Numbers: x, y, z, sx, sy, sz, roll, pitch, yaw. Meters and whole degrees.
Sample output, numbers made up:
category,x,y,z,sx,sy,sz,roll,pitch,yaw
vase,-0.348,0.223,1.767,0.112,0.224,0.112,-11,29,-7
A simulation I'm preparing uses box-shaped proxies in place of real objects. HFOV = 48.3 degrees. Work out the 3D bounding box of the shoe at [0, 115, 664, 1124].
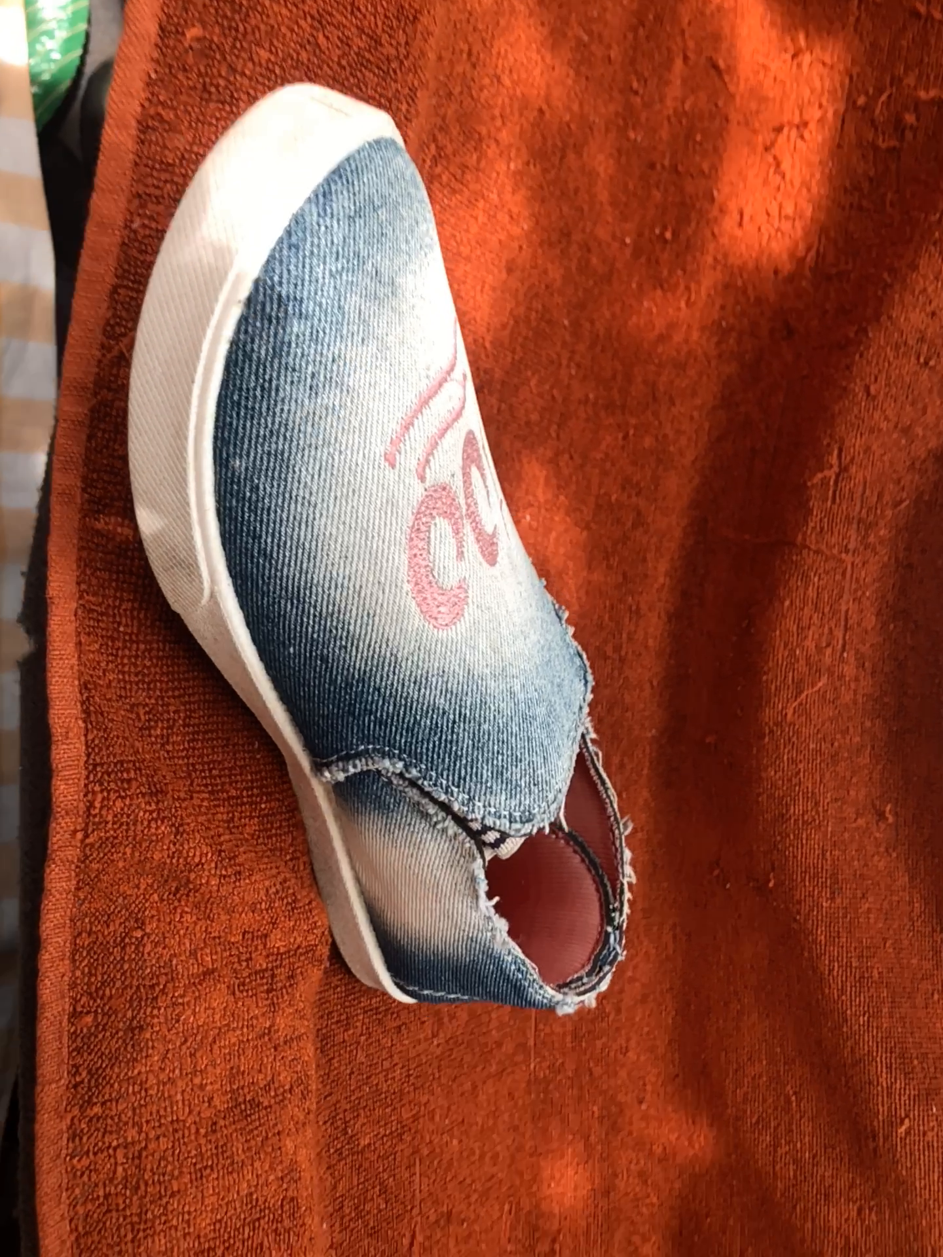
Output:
category,x,y,z,sx,sy,sz,roll,pitch,yaw
shoe,-0.018,0.012,0.275,0.090,0.079,0.241,-54,139,-42
